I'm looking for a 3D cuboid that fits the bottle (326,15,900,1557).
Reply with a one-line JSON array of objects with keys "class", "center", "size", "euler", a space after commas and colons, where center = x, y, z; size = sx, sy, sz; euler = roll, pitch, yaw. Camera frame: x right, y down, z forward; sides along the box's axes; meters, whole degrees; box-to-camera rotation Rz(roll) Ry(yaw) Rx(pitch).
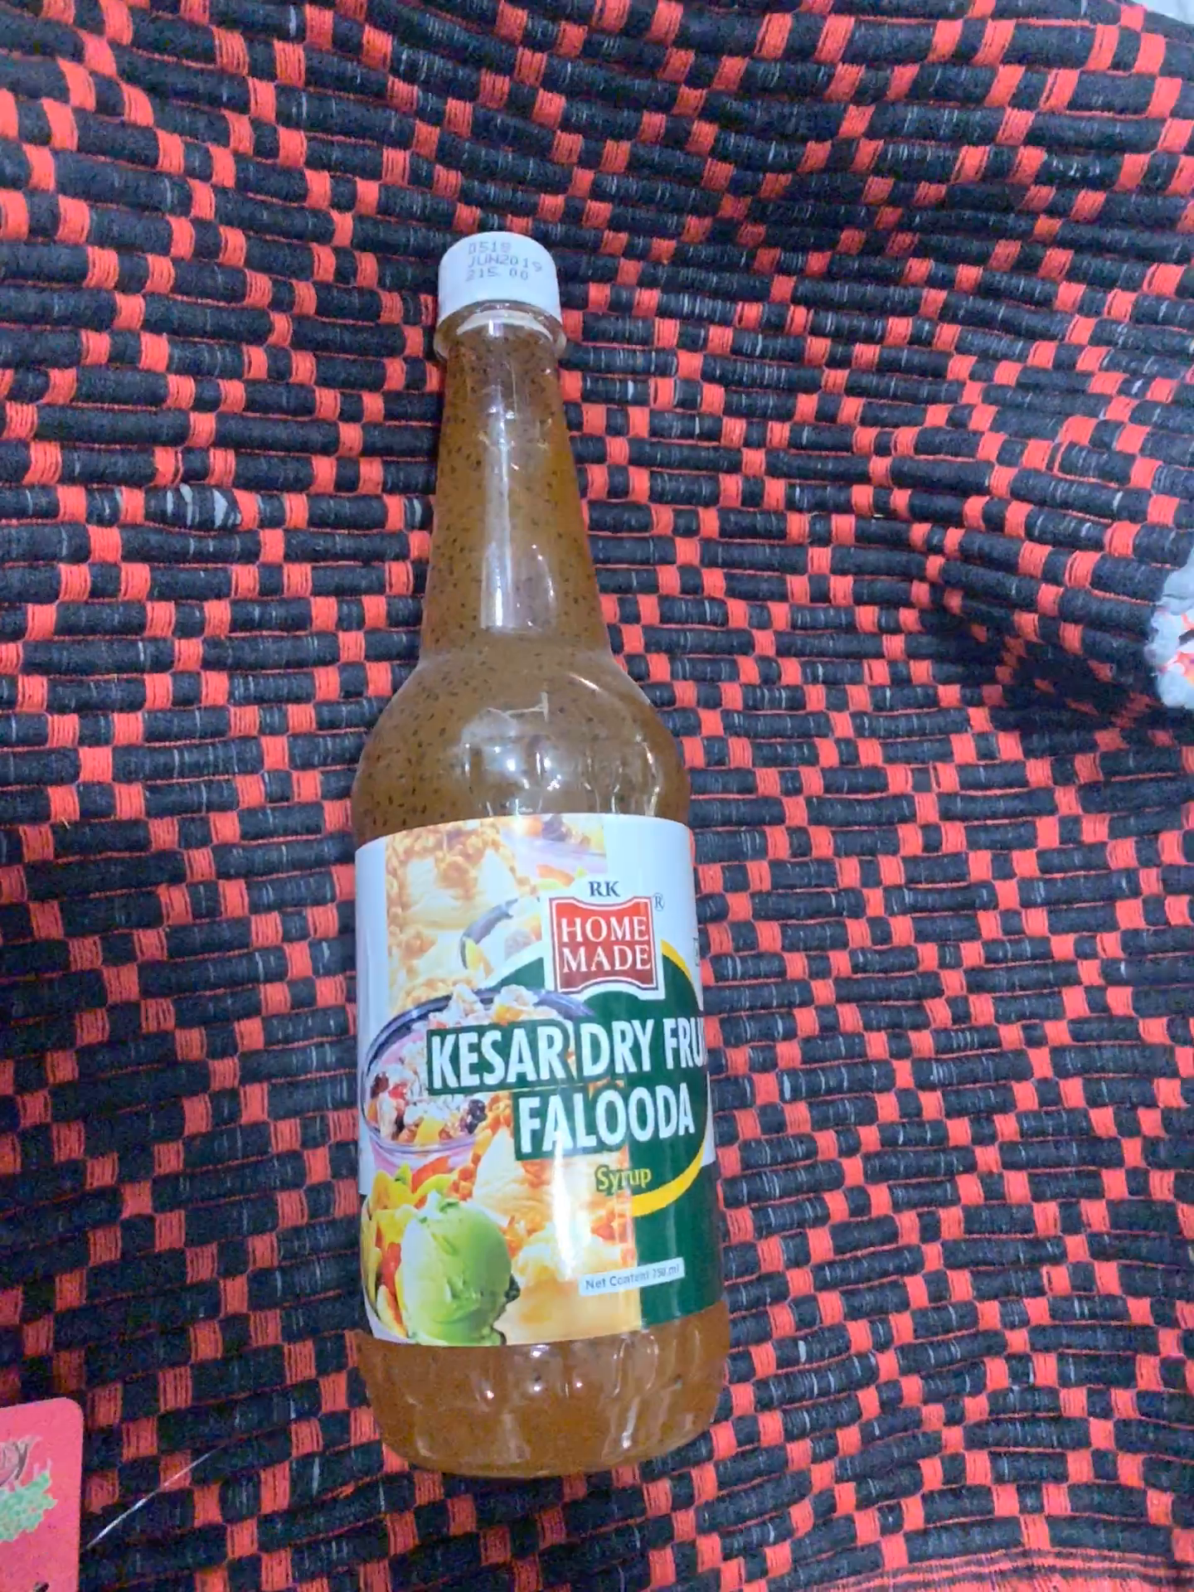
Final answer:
[{"class": "bottle", "center": [-0.007, -0.010, 0.250], "size": [0.080, 0.070, 0.260], "euler": [1, 78, -21]}]
